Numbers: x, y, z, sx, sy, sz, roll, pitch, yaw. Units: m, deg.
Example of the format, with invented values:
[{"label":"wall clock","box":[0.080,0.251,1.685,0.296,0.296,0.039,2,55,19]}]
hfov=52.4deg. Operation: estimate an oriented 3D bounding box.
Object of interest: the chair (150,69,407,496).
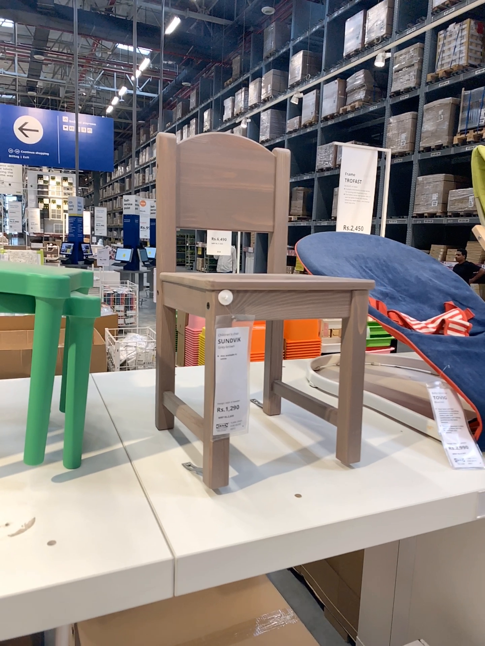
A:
[{"label":"chair","box":[0.024,-0.064,0.798,0.270,0.519,0.321,-3,11,-25]}]
